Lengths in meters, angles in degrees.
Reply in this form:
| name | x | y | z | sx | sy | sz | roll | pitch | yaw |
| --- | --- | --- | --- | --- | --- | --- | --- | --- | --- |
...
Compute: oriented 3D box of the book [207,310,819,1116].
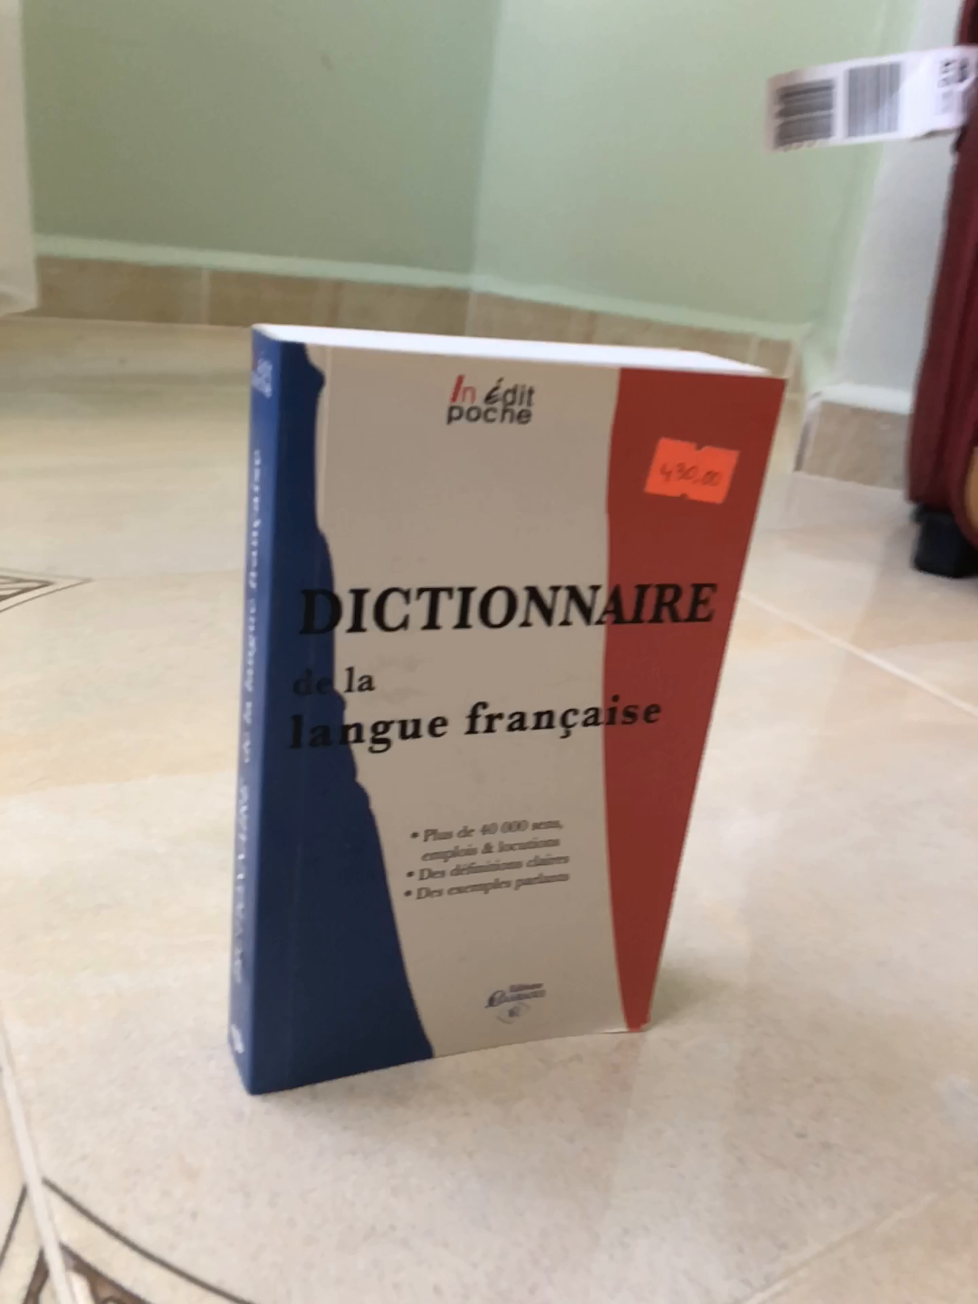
| name | x | y | z | sx | sy | sz | roll | pitch | yaw |
| --- | --- | --- | --- | --- | --- | --- | --- | --- | --- |
| book | -0.002 | 0.019 | 0.261 | 0.121 | 0.182 | 0.034 | -1 | 24 | -21 |
